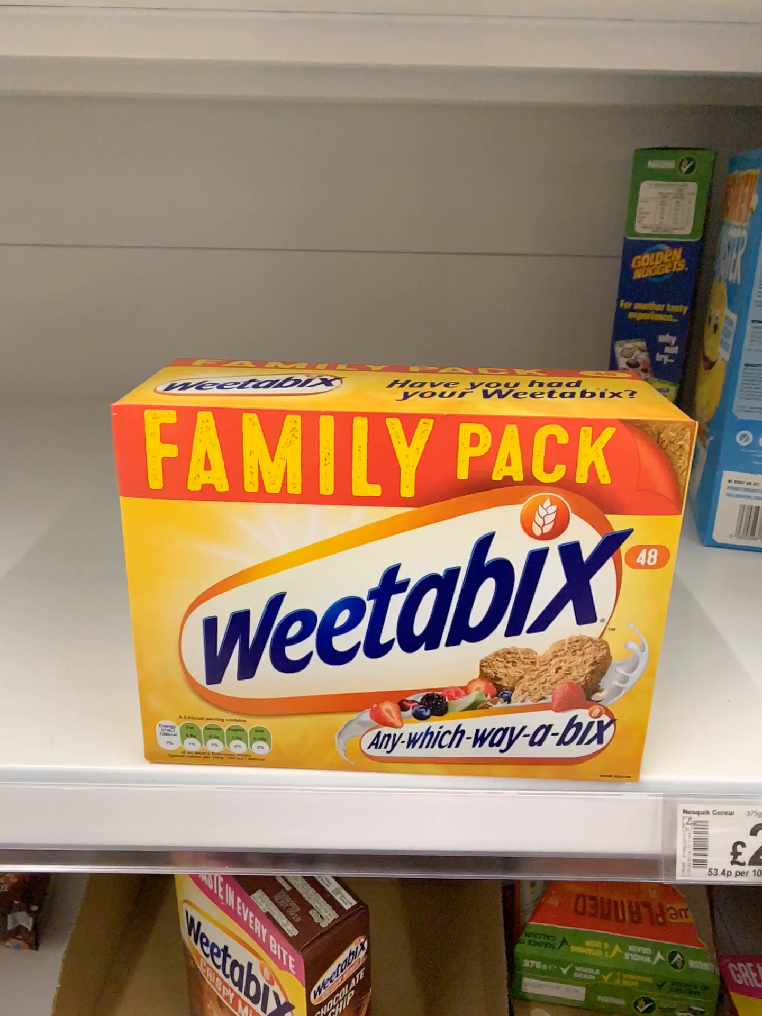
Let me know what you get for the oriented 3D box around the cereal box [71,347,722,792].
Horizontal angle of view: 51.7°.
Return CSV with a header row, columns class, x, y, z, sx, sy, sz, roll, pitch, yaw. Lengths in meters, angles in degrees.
class,x,y,z,sx,sy,sz,roll,pitch,yaw
cereal box,0.005,0.027,0.390,0.260,0.189,0.091,2,21,2
